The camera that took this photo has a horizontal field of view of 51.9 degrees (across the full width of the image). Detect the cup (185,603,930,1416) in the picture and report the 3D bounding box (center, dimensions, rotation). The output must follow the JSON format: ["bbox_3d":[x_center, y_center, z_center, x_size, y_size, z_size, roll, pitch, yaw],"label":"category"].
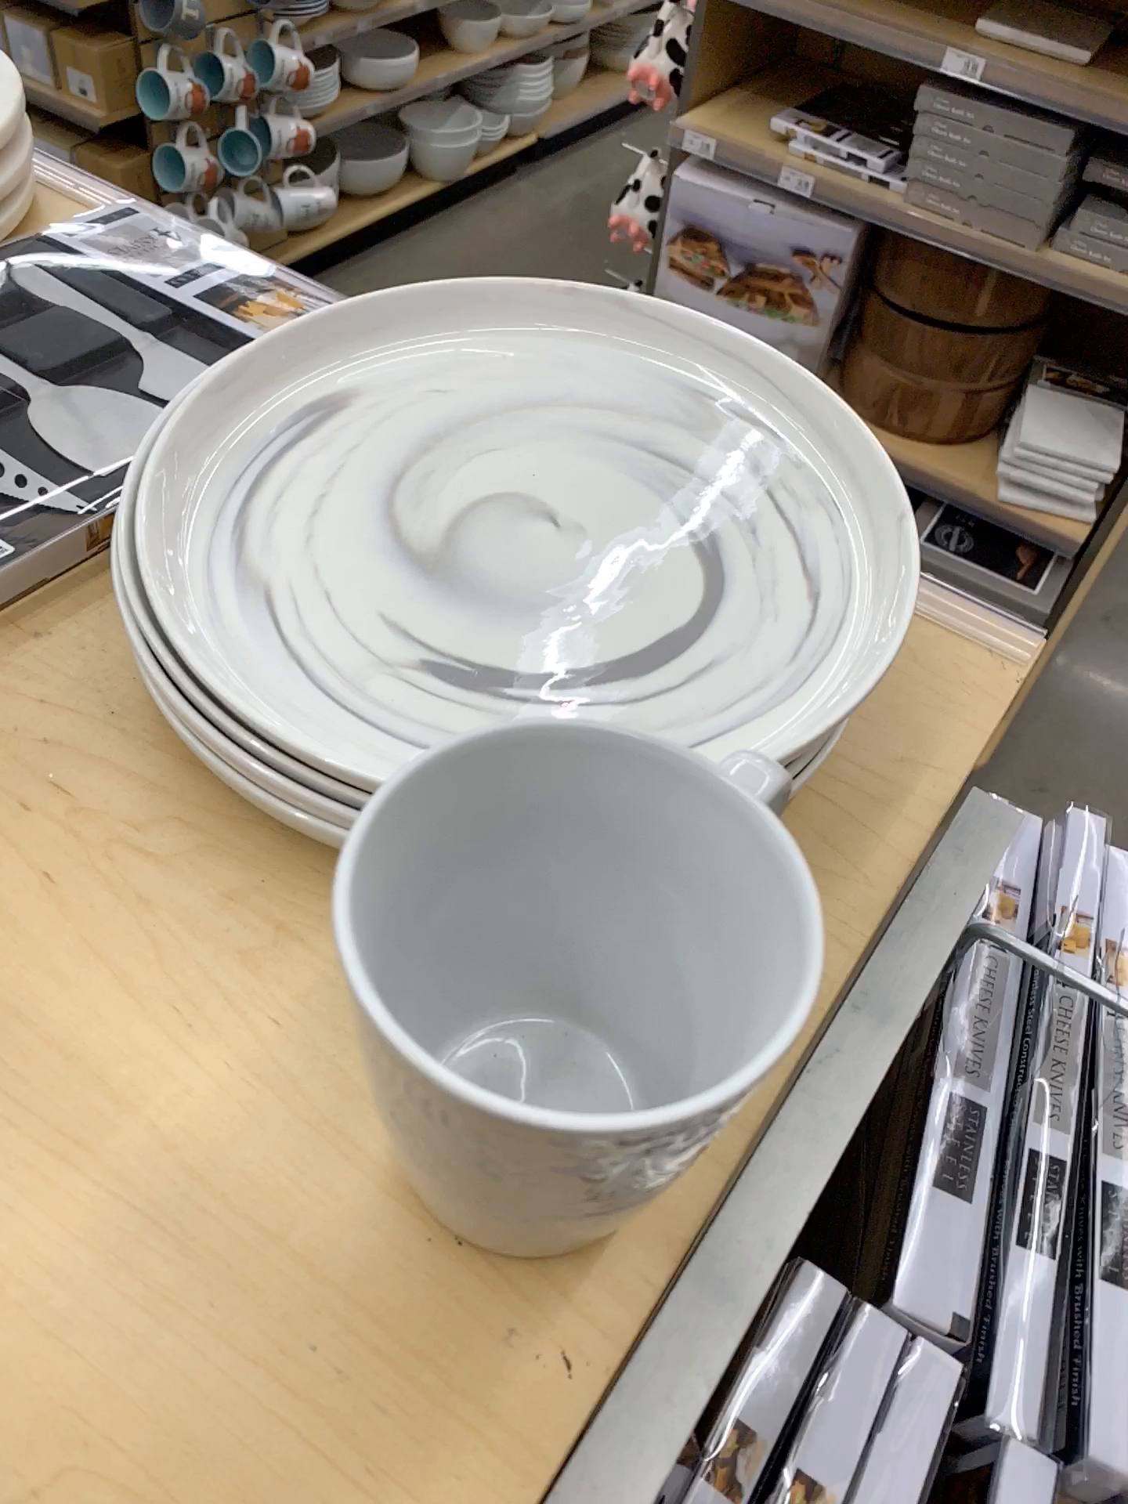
[{"bbox_3d":[-0.002,0.058,0.278,0.099,0.107,0.125,34,53,18],"label":"cup"}]
